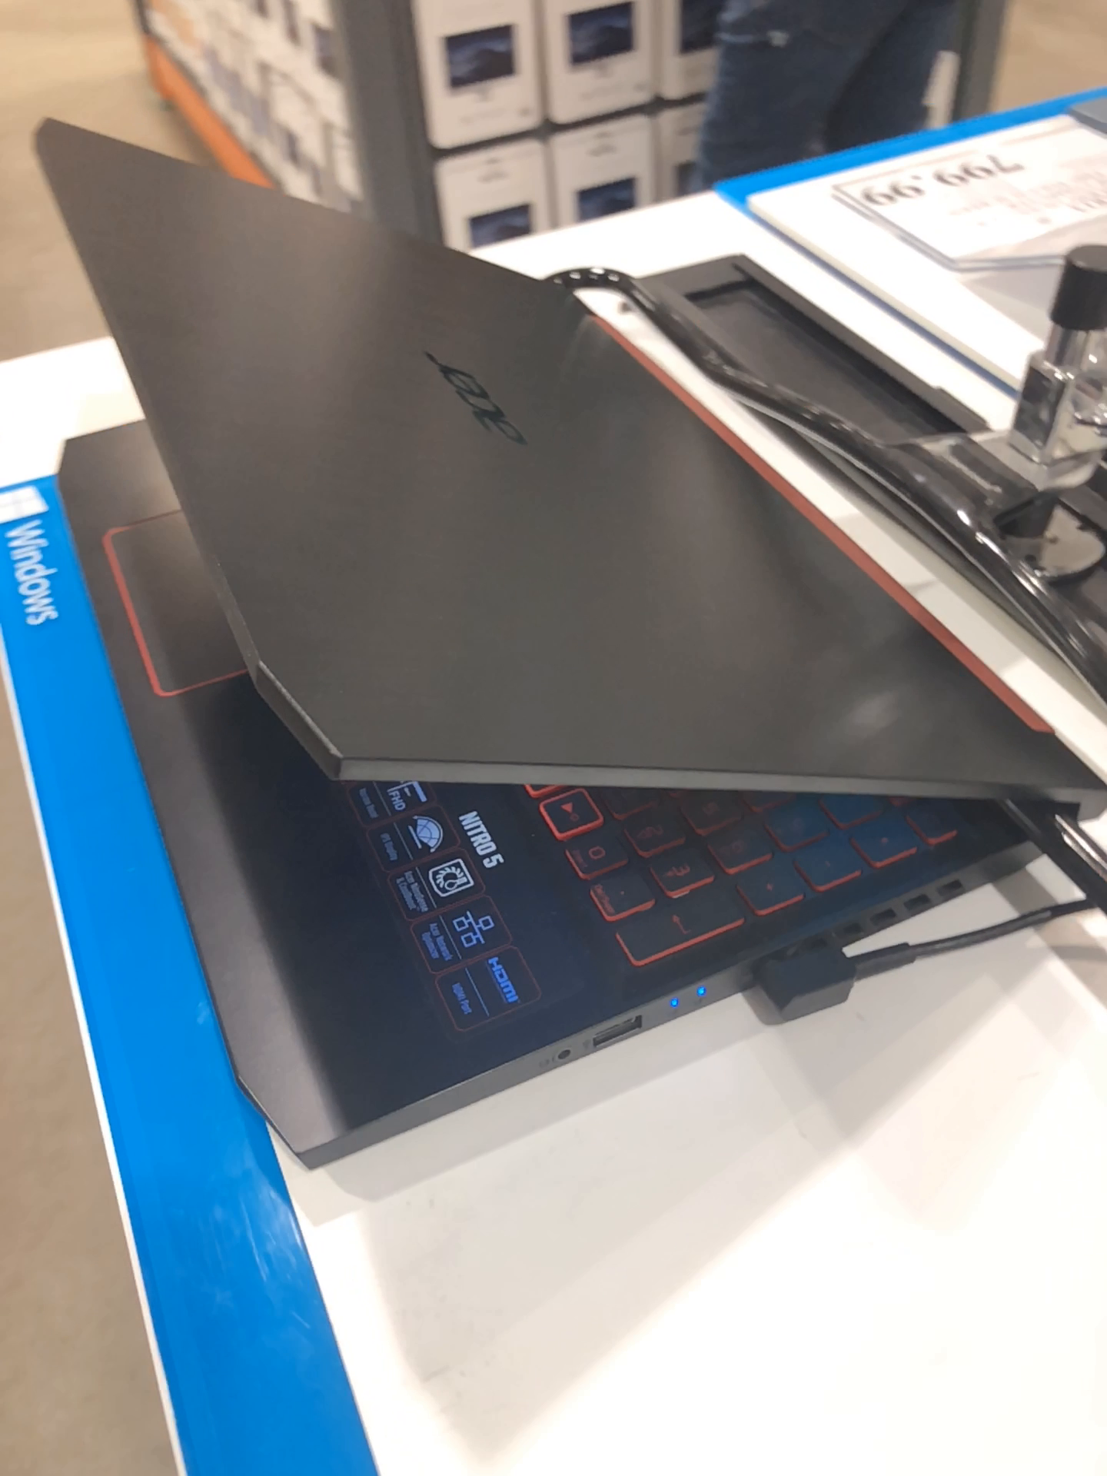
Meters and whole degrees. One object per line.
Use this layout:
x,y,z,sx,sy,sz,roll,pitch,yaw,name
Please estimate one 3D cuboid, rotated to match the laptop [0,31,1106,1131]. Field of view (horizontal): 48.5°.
-0.039,-0.094,0.394,0.218,0.121,0.346,-20,48,-16,laptop
